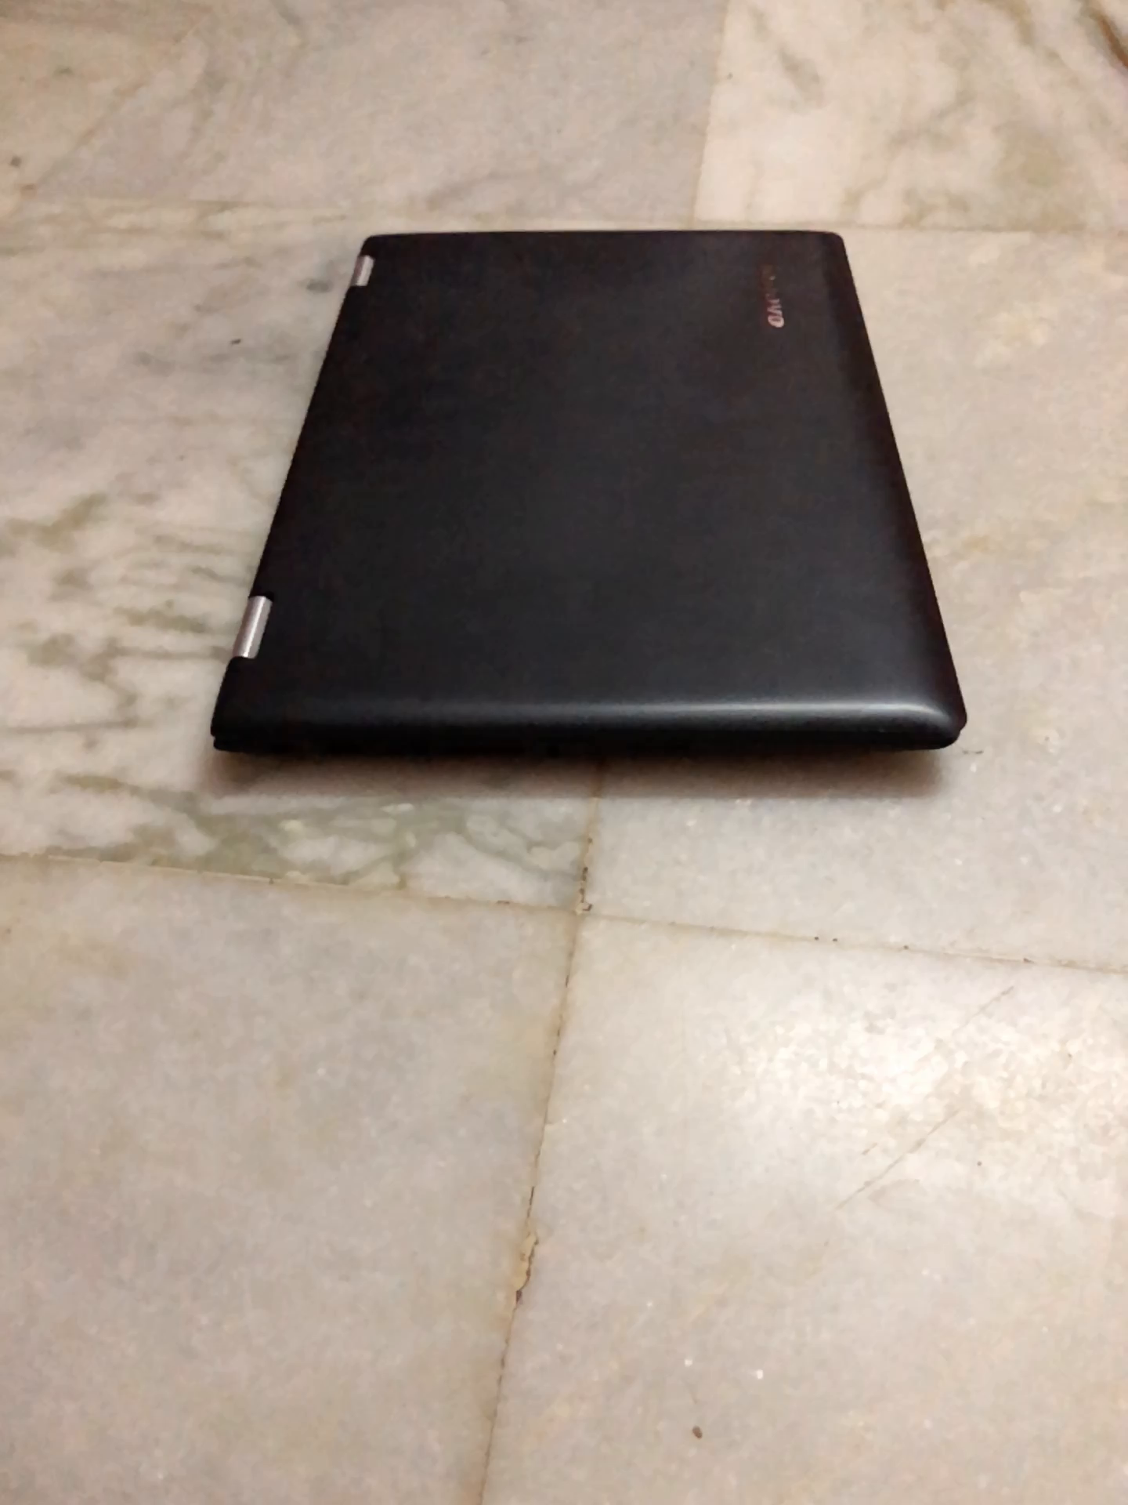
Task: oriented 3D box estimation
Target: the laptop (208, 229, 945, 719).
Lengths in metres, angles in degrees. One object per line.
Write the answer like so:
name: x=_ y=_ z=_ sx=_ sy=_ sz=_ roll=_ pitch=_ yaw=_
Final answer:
laptop: x=0.008 y=-0.131 z=0.490 sx=0.222 sy=0.002 sz=0.330 roll=1 pitch=47 yaw=2
